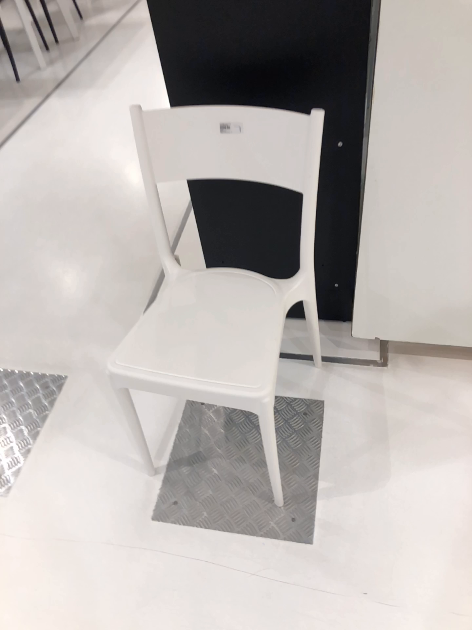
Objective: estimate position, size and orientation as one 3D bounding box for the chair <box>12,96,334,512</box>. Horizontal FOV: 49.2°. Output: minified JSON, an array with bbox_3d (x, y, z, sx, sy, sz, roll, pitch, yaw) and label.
[{"bbox_3d":[-0.033,0.002,1.146,0.410,0.765,0.483,7,48,15],"label":"chair"}]
